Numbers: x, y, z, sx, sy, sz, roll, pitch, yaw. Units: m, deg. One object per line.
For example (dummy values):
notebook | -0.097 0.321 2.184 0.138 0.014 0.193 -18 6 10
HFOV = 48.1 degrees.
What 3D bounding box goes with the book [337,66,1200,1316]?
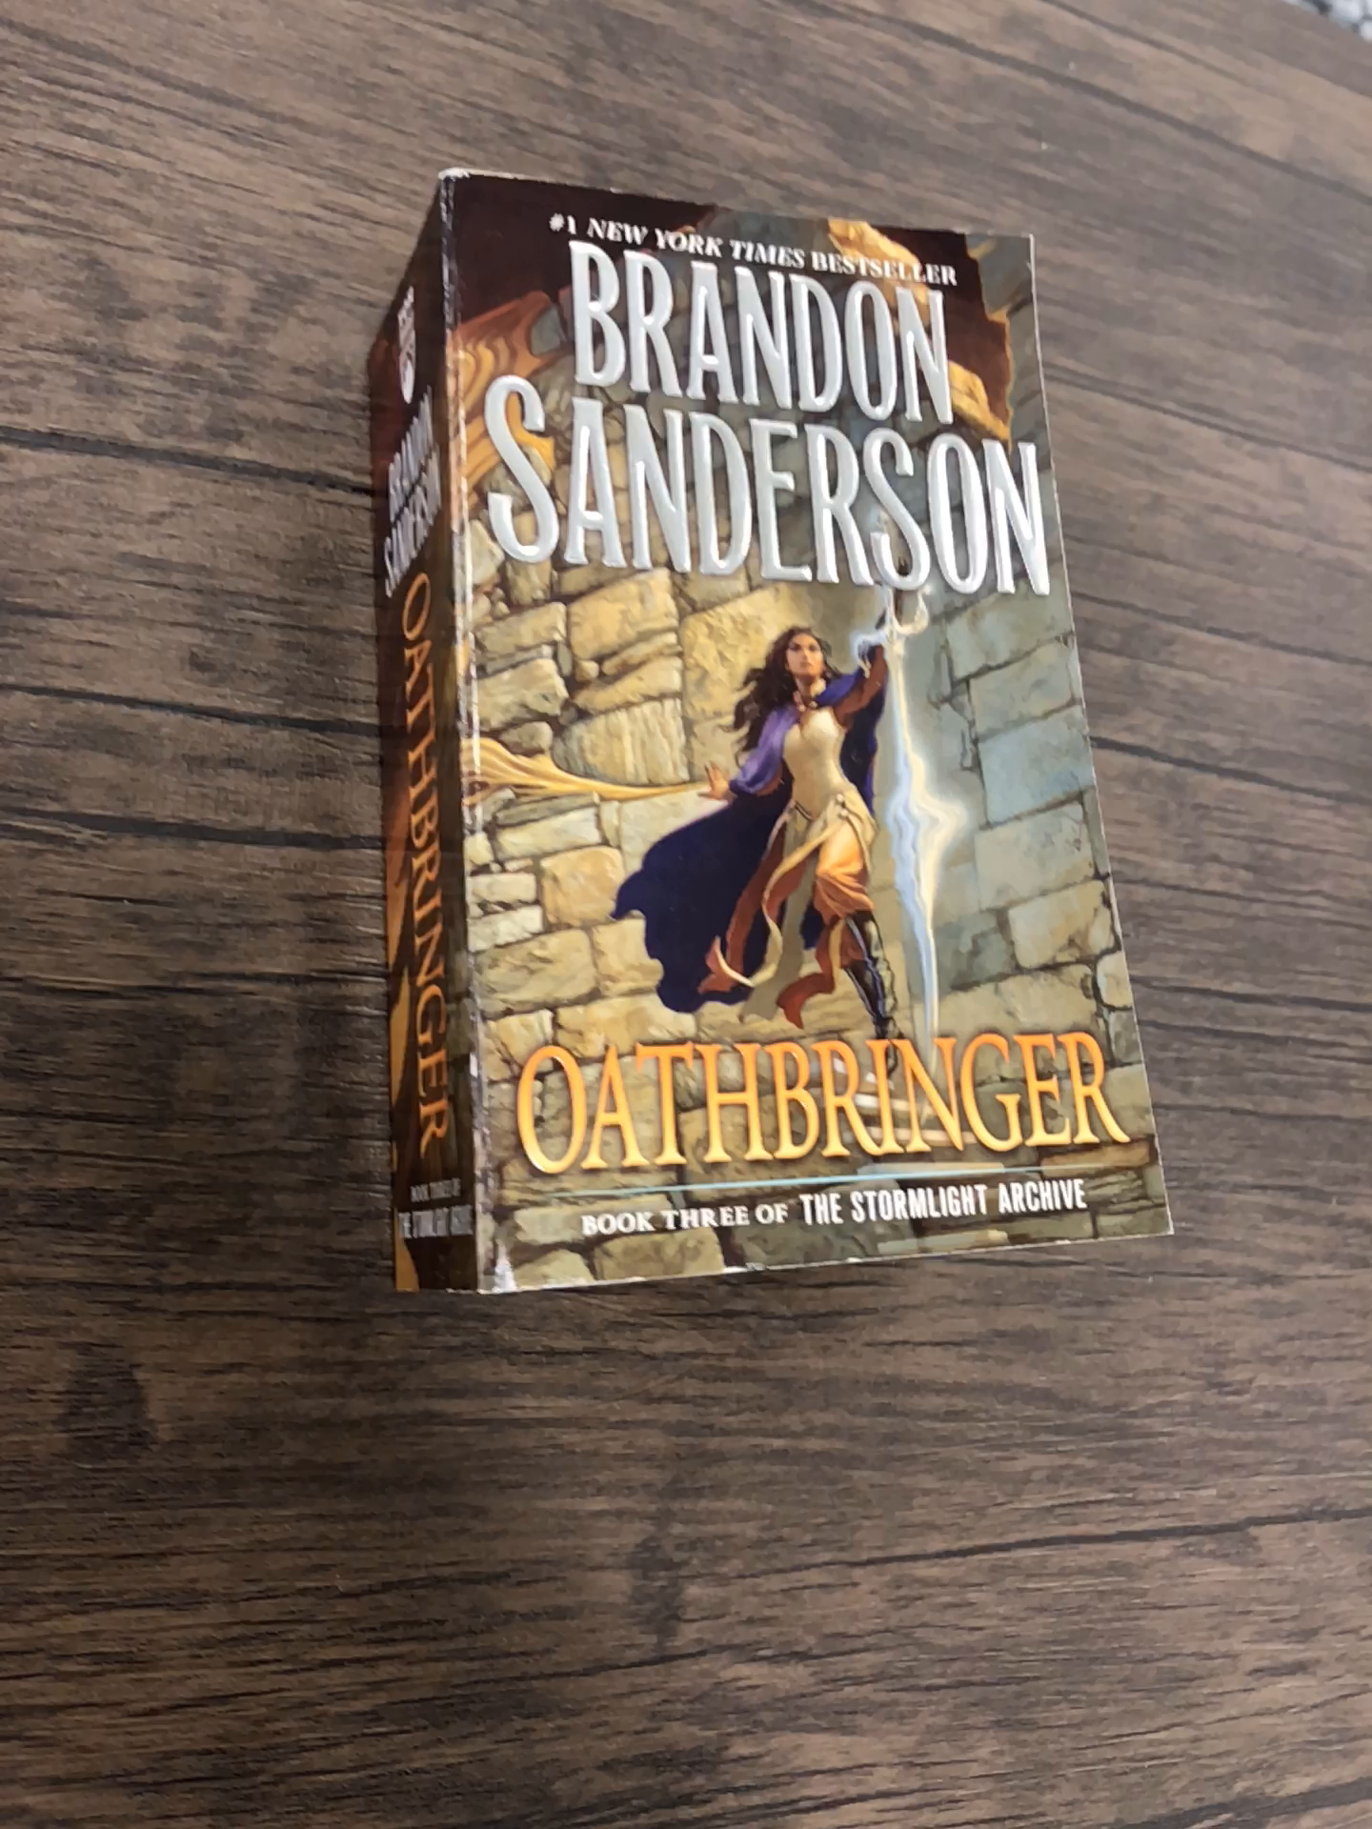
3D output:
book | 0.008 -0.027 0.243 0.111 0.058 0.167 2 77 -24
